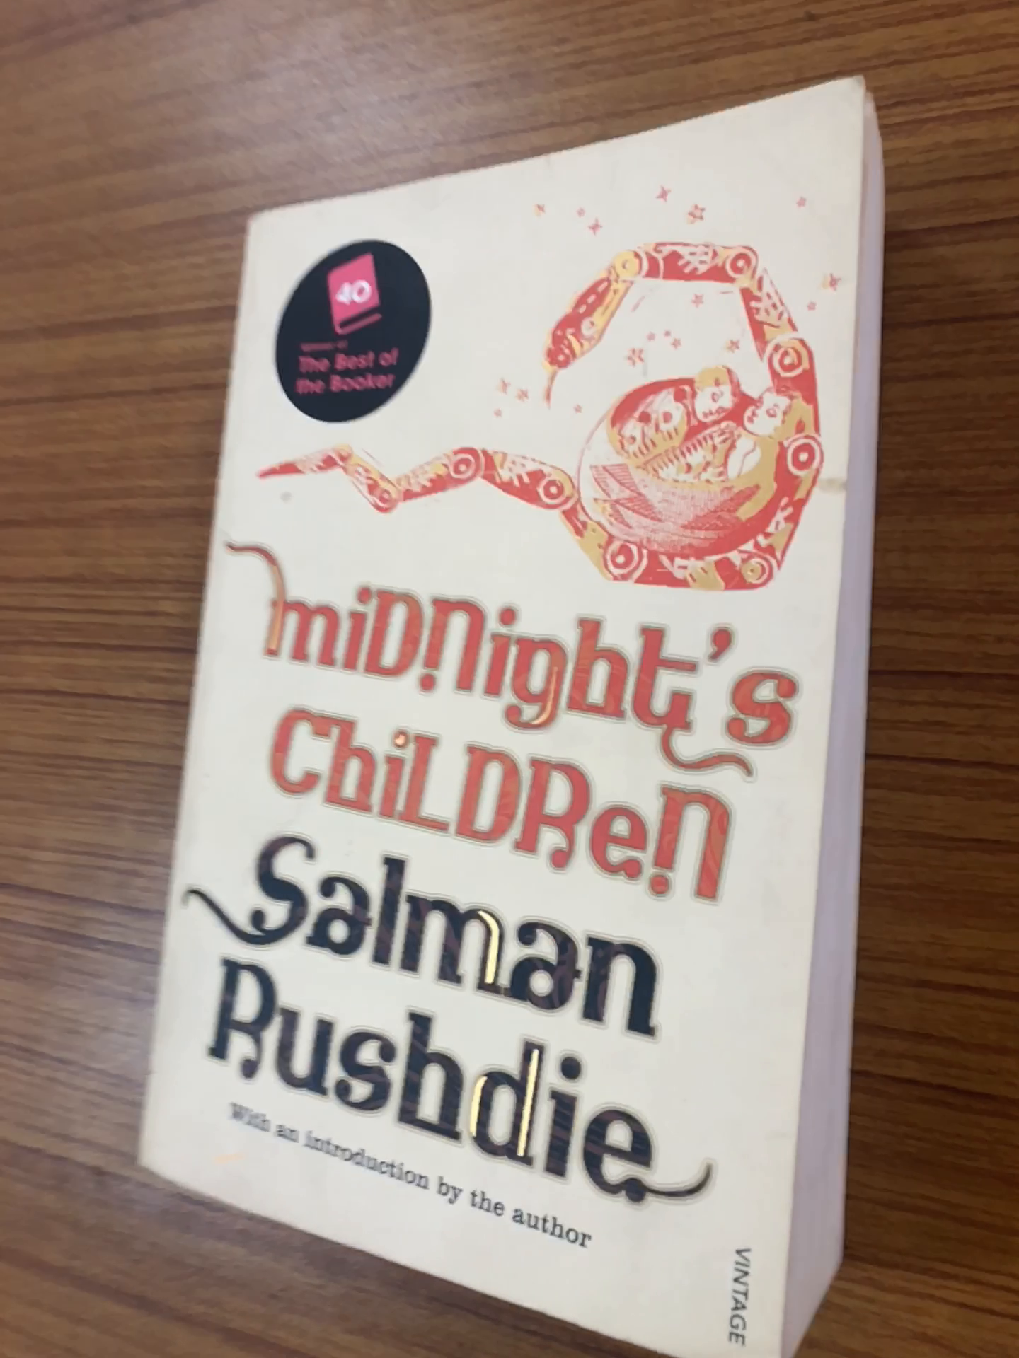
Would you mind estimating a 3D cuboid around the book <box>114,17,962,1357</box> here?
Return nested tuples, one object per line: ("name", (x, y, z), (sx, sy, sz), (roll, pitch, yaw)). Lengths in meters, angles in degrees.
("book", (0.002, 0.002, 0.213), (0.140, 0.040, 0.200), (2, 84, 30))
